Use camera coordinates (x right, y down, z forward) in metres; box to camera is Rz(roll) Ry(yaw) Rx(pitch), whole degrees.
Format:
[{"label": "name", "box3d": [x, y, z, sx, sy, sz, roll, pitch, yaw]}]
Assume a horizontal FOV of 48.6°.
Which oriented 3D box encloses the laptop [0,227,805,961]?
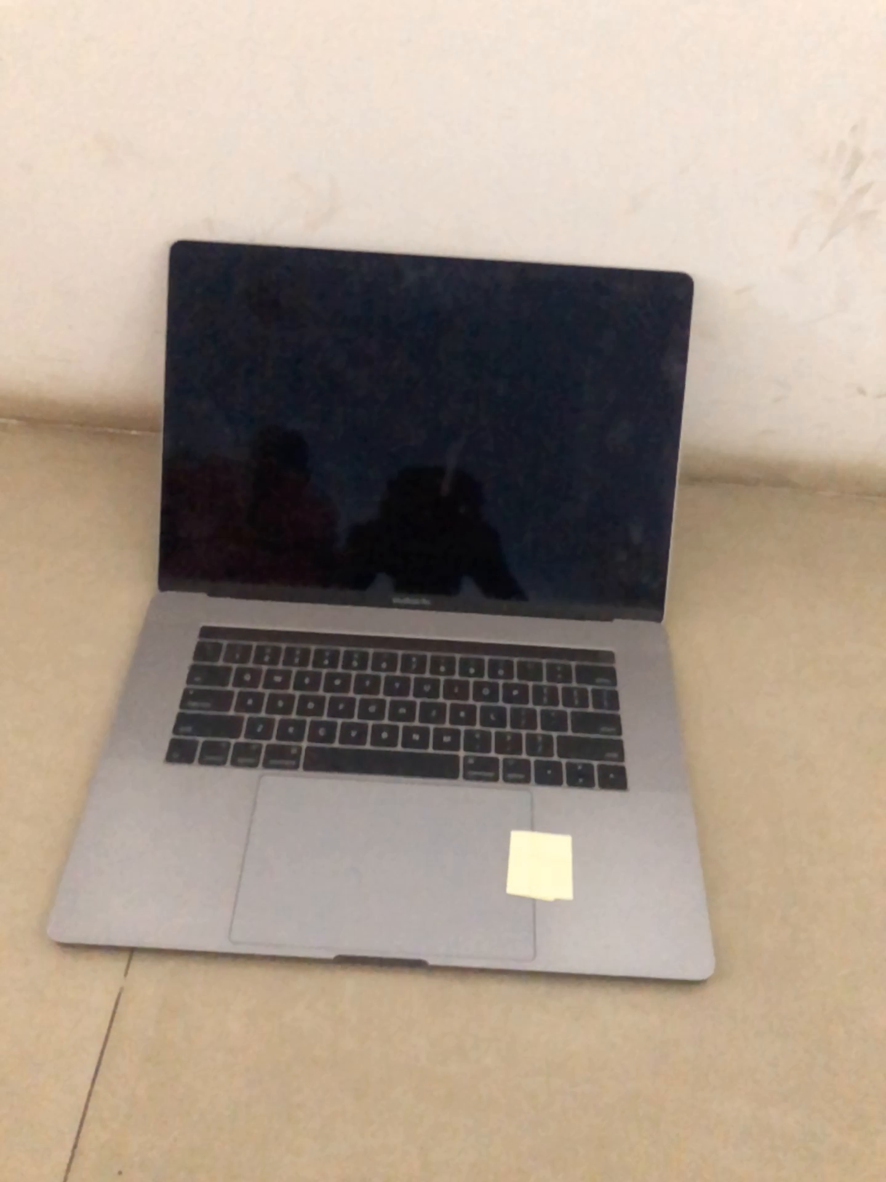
[{"label": "laptop", "box3d": [-0.022, -0.021, 0.561, 0.329, 0.162, 0.382, 4, 49, -1]}]
